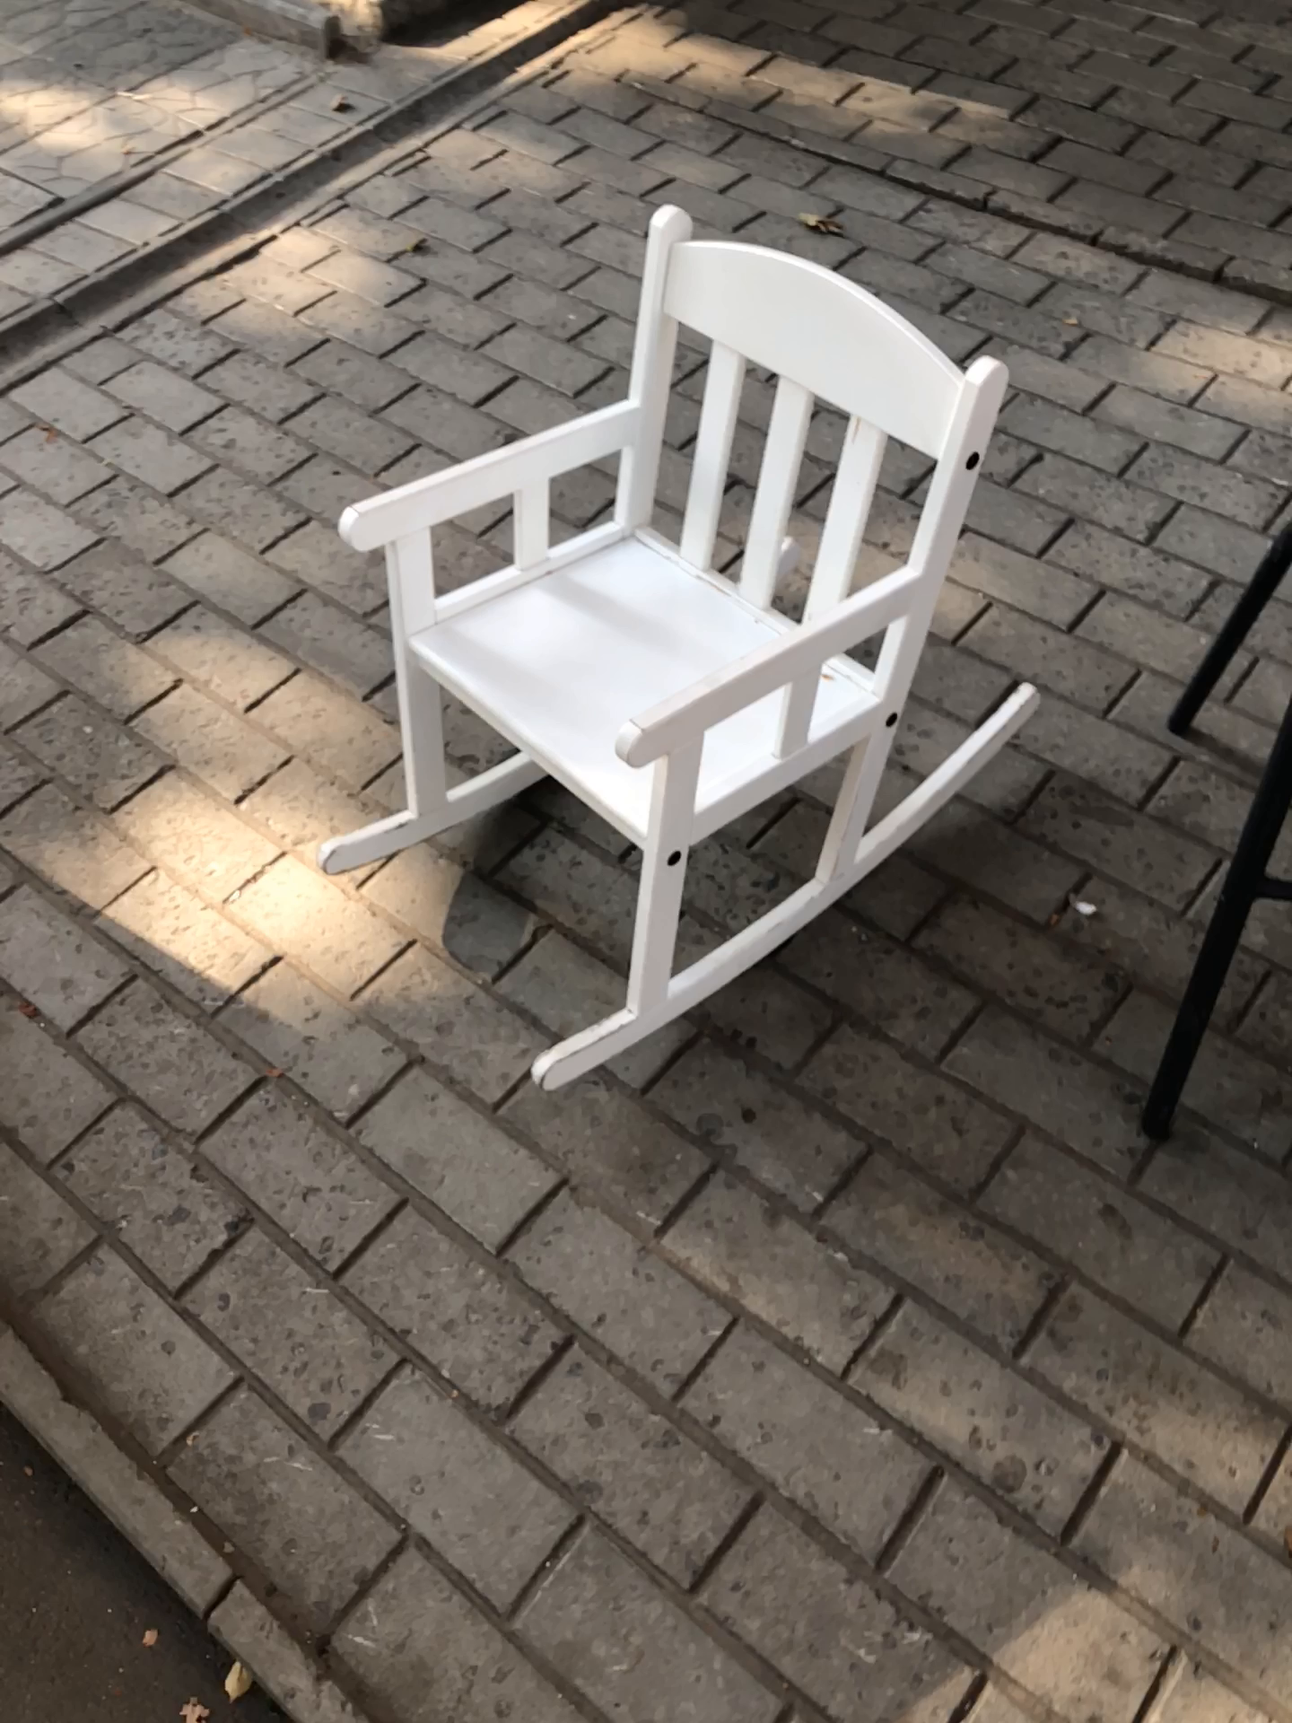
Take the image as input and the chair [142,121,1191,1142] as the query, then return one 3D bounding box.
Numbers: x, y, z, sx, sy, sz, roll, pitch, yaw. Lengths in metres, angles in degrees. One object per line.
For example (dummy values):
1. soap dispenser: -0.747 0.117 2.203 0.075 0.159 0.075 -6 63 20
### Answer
1. chair: 0.045 -0.223 1.275 0.731 0.518 0.381 -35 57 -24
